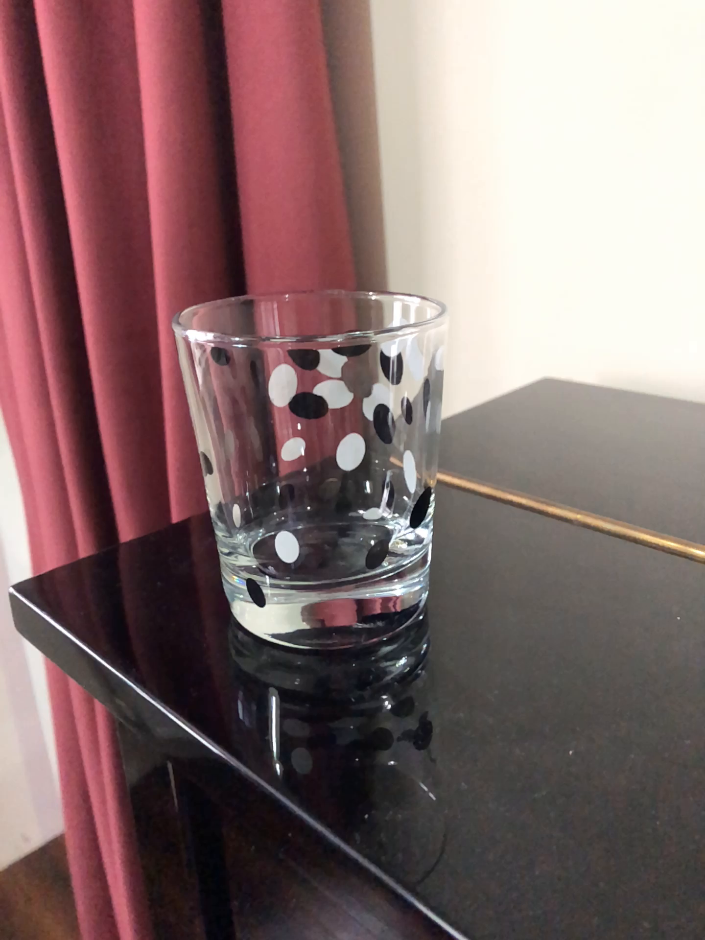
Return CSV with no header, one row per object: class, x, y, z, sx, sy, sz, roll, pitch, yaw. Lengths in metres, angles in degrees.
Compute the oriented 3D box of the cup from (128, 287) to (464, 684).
cup,-0.009,-0.001,0.245,0.080,0.099,0.070,2,20,14
